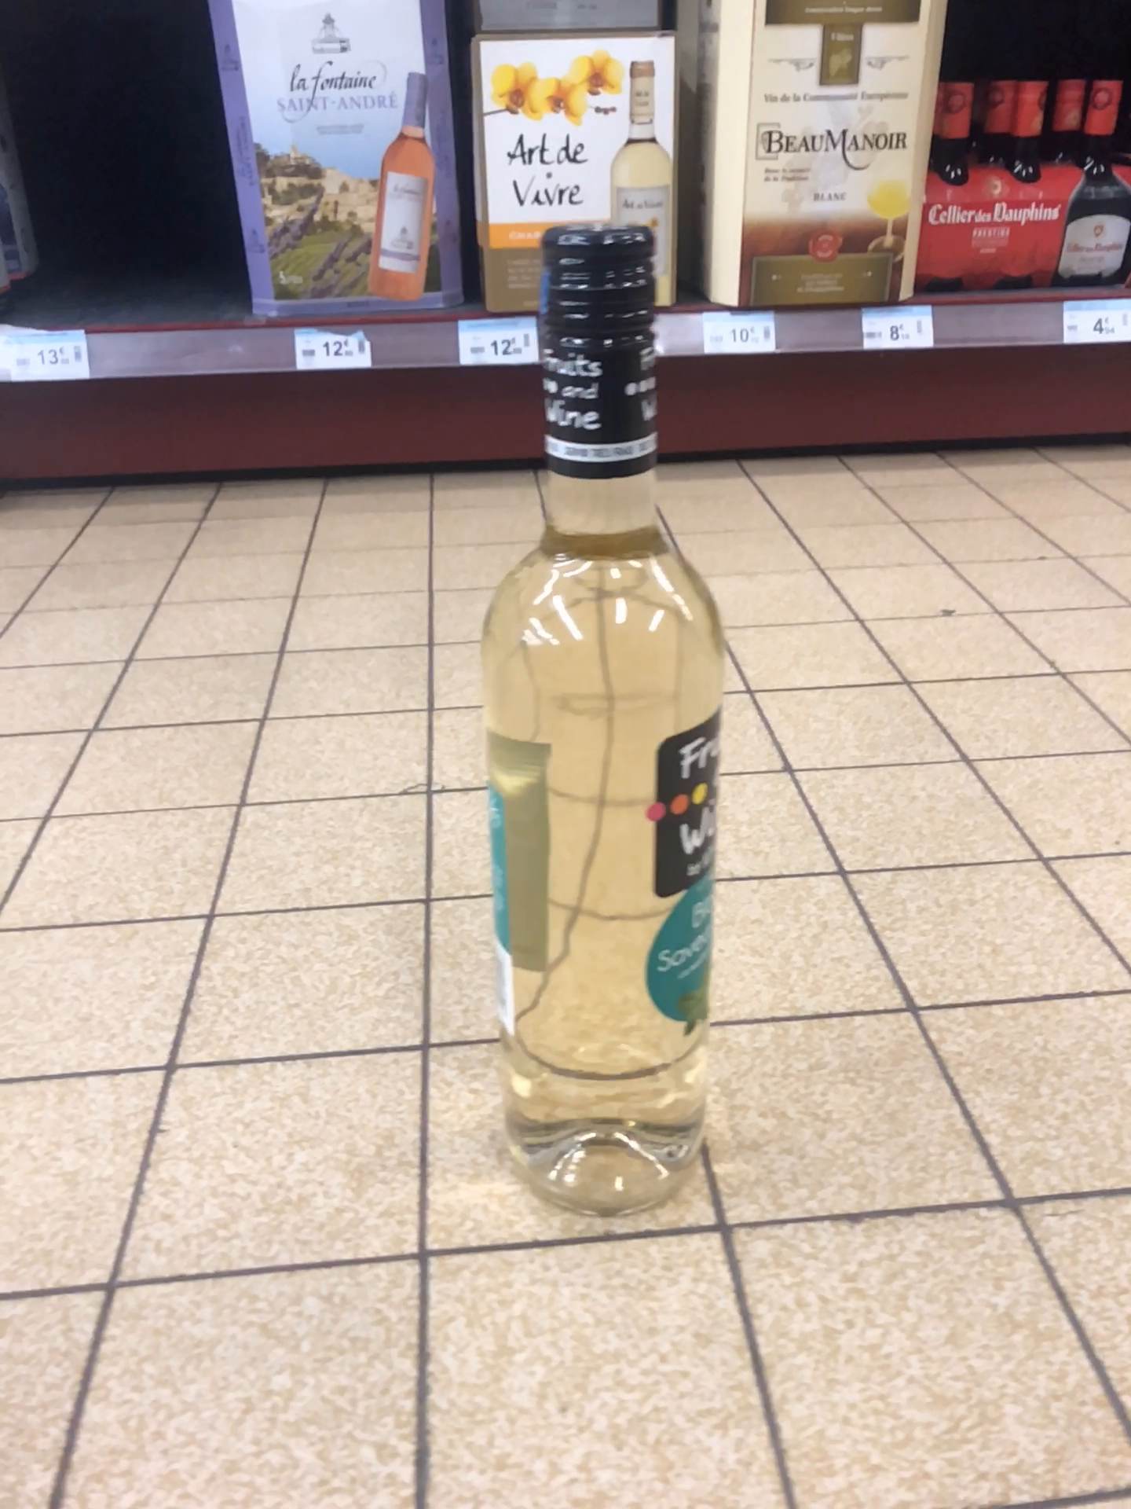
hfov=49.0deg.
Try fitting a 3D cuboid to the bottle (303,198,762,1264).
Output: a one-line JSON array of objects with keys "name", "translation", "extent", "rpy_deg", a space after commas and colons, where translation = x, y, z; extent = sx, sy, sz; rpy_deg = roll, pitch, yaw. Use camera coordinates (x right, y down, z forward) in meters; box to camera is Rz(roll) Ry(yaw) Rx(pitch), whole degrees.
[{"name": "bottle", "translation": [0.000, 0.000, 0.373], "extent": [0.090, 0.298, 0.101], "rpy_deg": [6, 28, 12]}]
